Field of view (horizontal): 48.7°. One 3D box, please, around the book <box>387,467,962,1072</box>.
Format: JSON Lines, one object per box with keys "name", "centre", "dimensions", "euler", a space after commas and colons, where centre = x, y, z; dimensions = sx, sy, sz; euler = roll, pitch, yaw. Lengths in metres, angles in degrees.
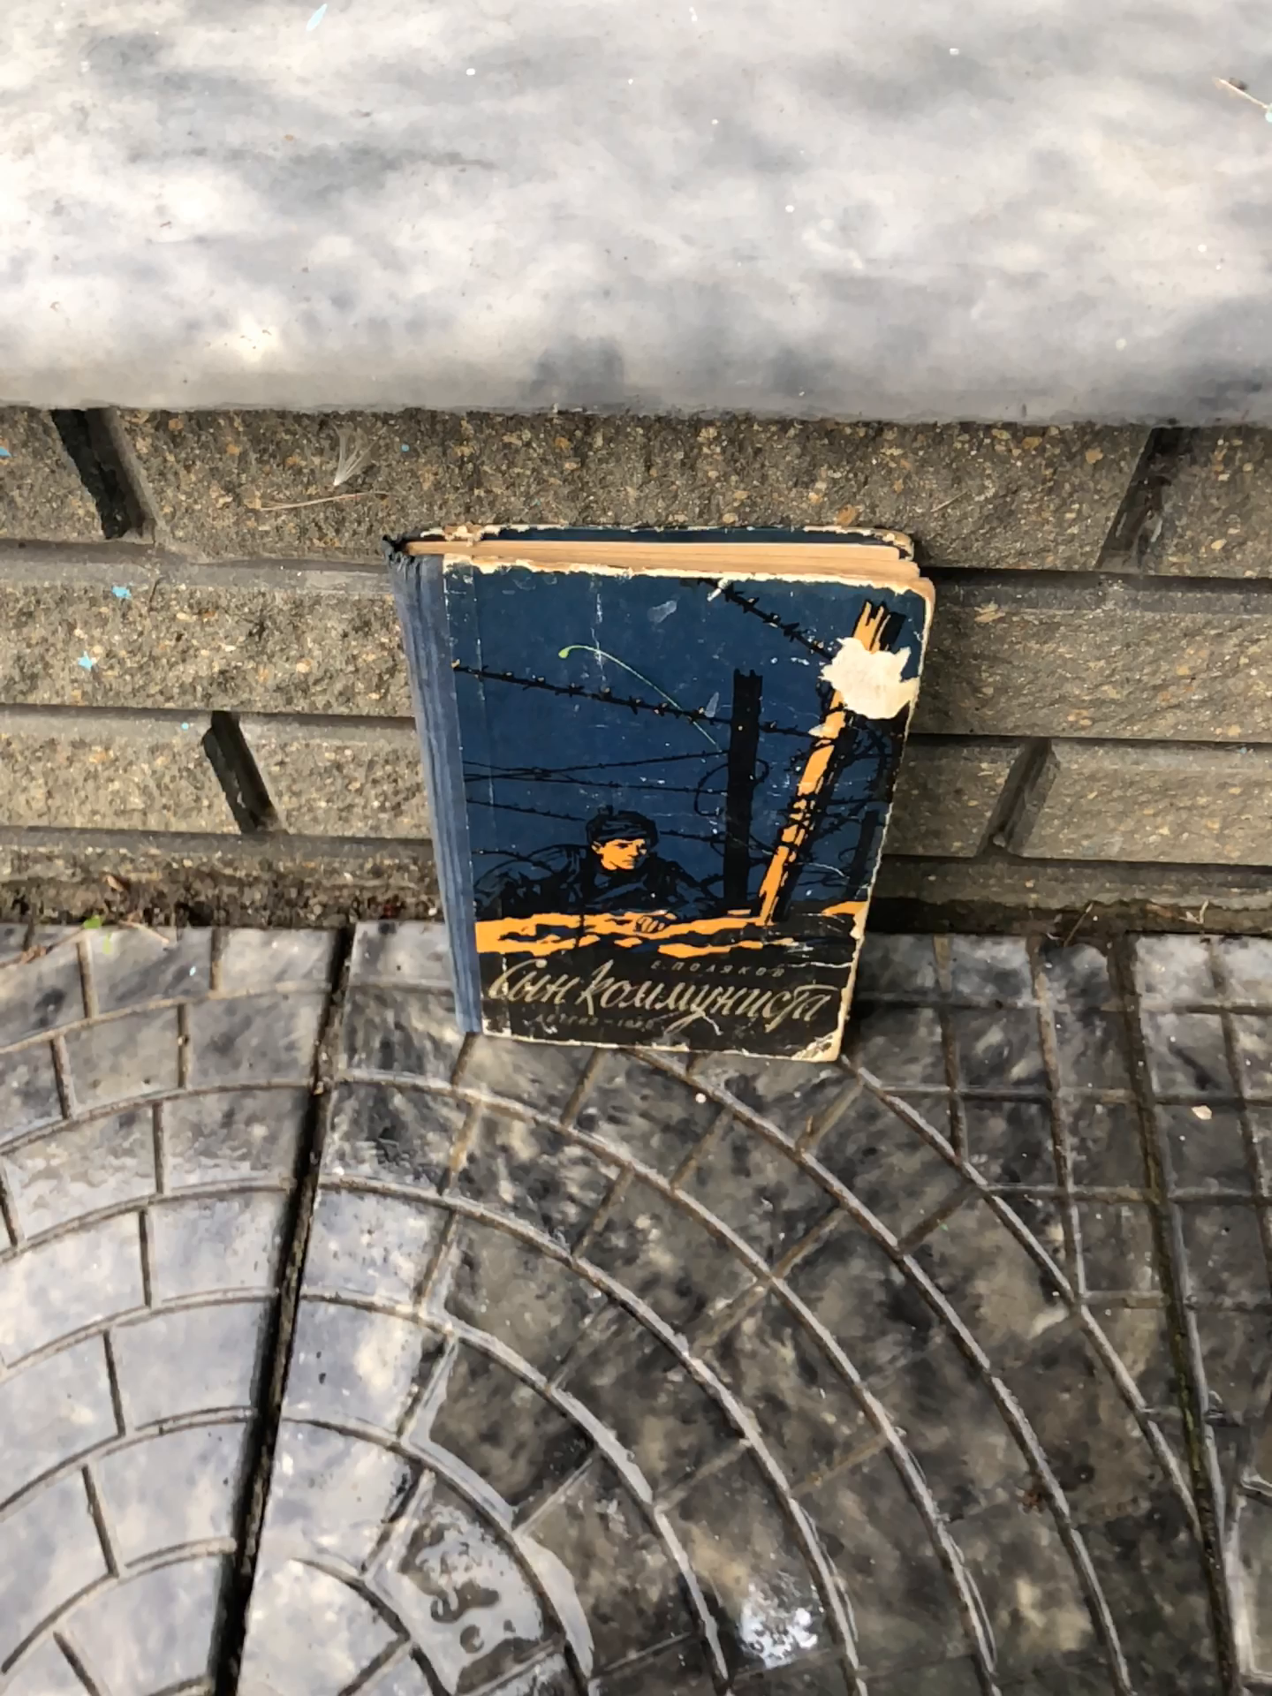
{"name": "book", "centre": [0.009, -0.012, 0.426], "dimensions": [0.140, 0.200, 0.040], "euler": [4, 45, 2]}
